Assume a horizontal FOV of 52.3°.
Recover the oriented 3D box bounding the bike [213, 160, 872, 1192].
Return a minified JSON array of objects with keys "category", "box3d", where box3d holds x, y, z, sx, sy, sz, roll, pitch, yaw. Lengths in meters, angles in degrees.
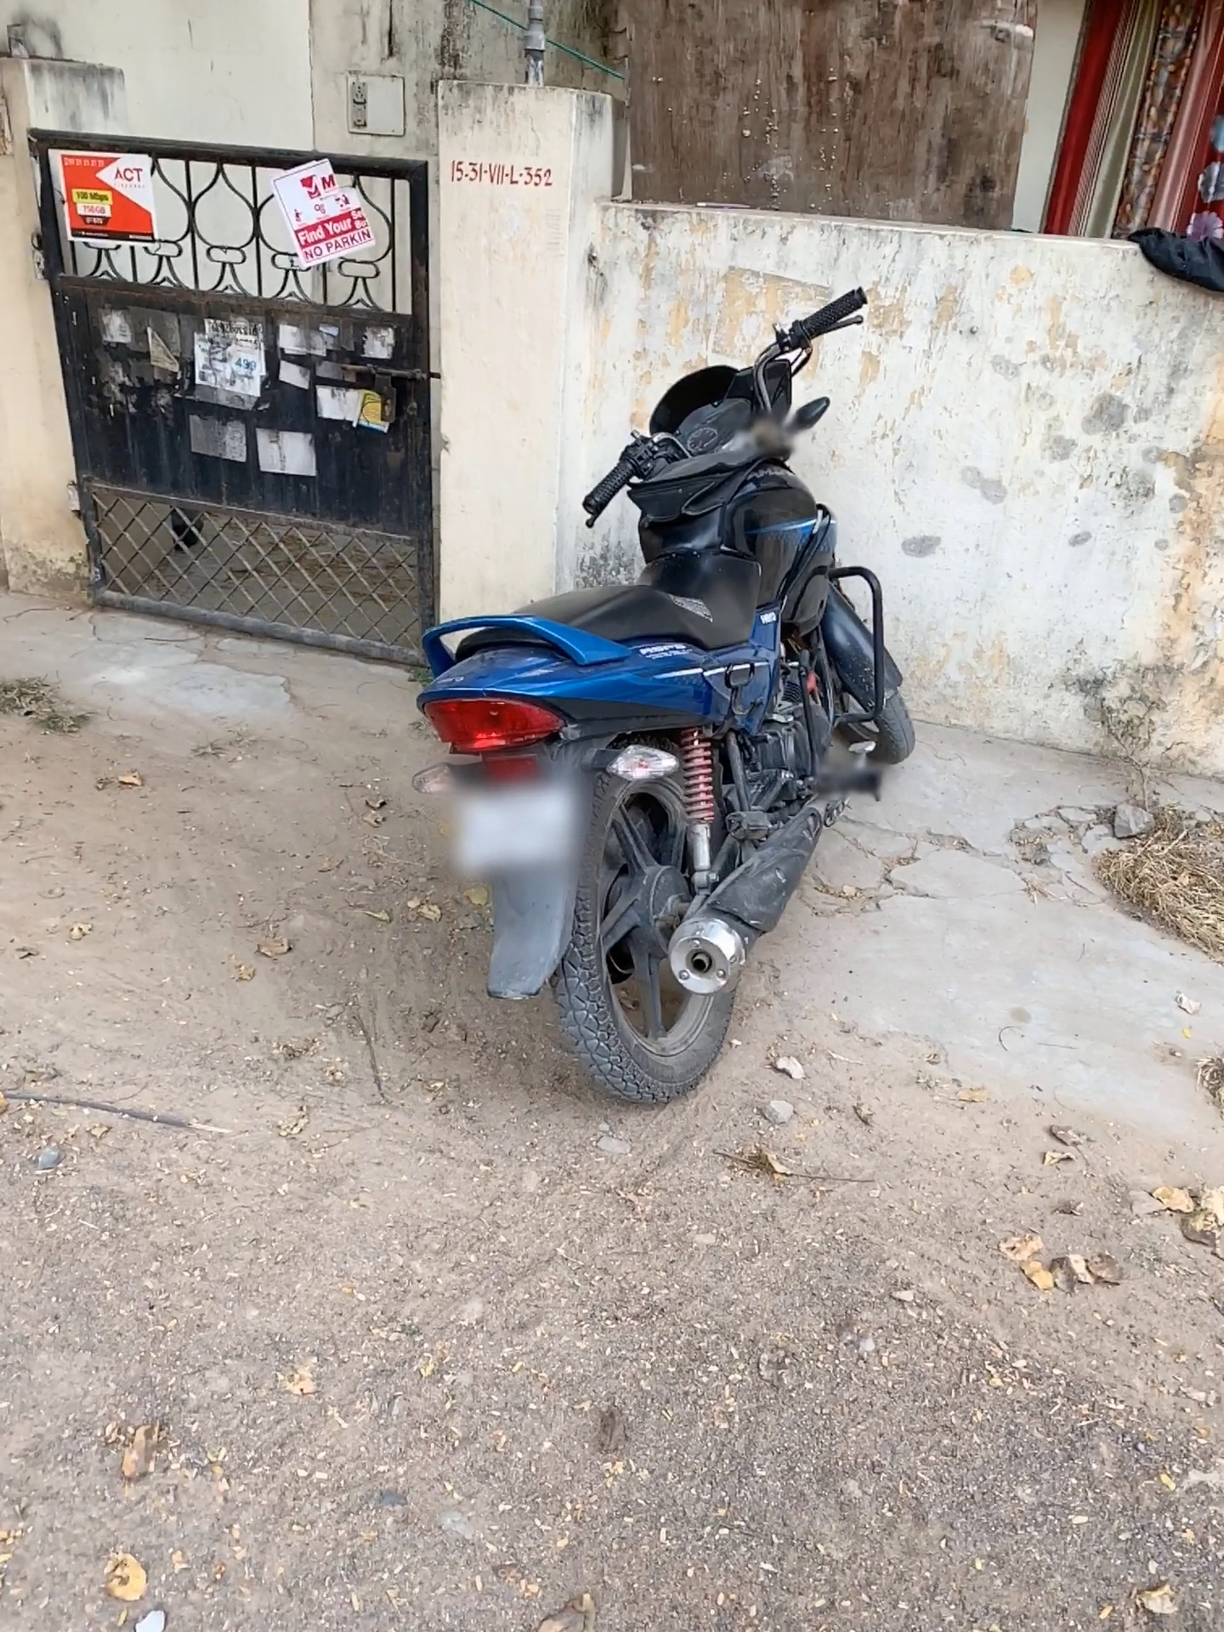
[{"category":"bike","box3d":[-0.015,-0.502,2.501,0.754,1.233,1.712,10,32,12]}]
